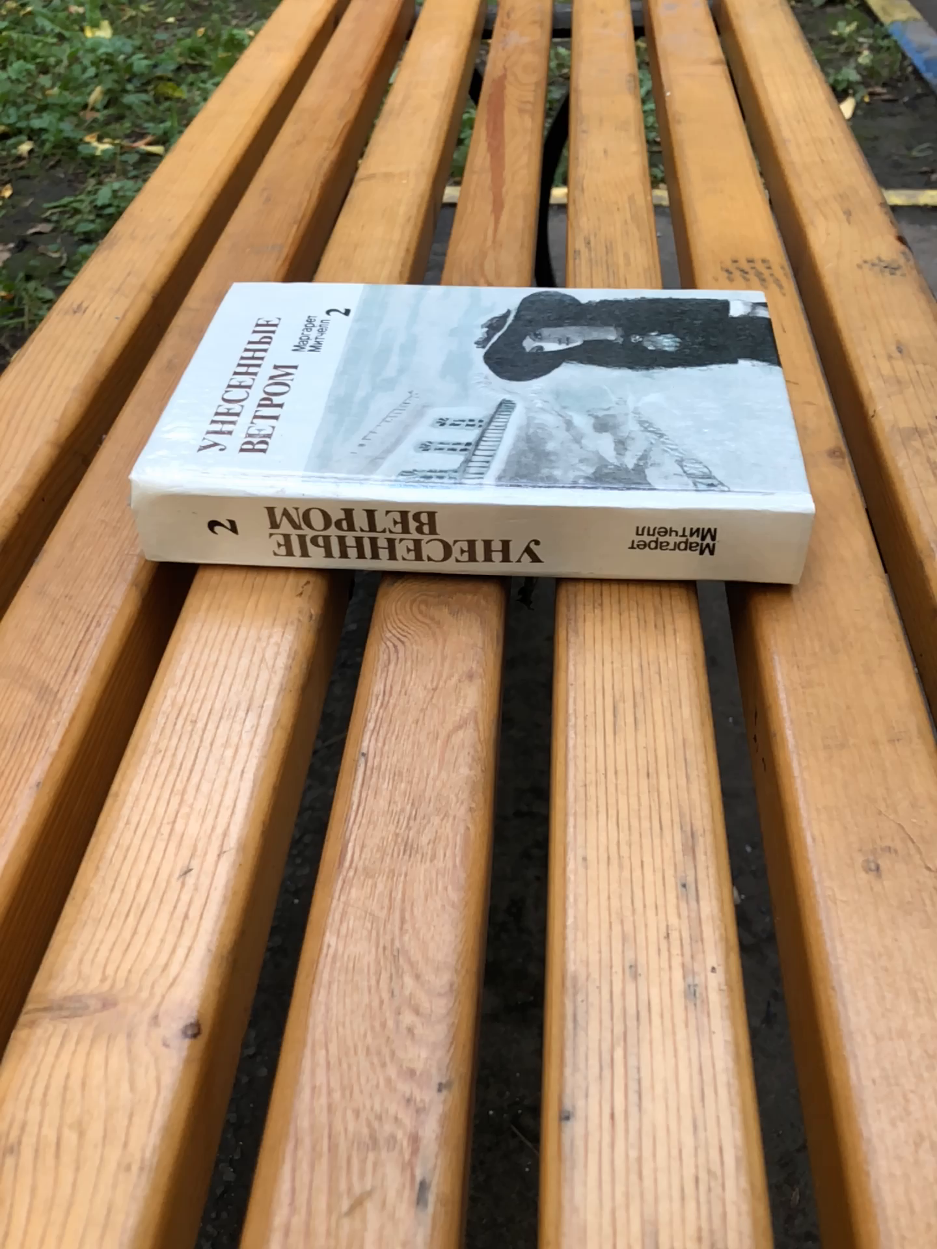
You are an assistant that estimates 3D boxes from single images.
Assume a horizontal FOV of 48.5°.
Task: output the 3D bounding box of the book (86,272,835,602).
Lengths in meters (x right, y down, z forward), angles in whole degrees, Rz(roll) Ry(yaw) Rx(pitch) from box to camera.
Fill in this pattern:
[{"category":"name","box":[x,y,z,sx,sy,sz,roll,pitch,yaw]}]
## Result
[{"category":"book","box":[0.001,-0.071,0.351,0.210,0.030,0.141,3,44,4]}]
